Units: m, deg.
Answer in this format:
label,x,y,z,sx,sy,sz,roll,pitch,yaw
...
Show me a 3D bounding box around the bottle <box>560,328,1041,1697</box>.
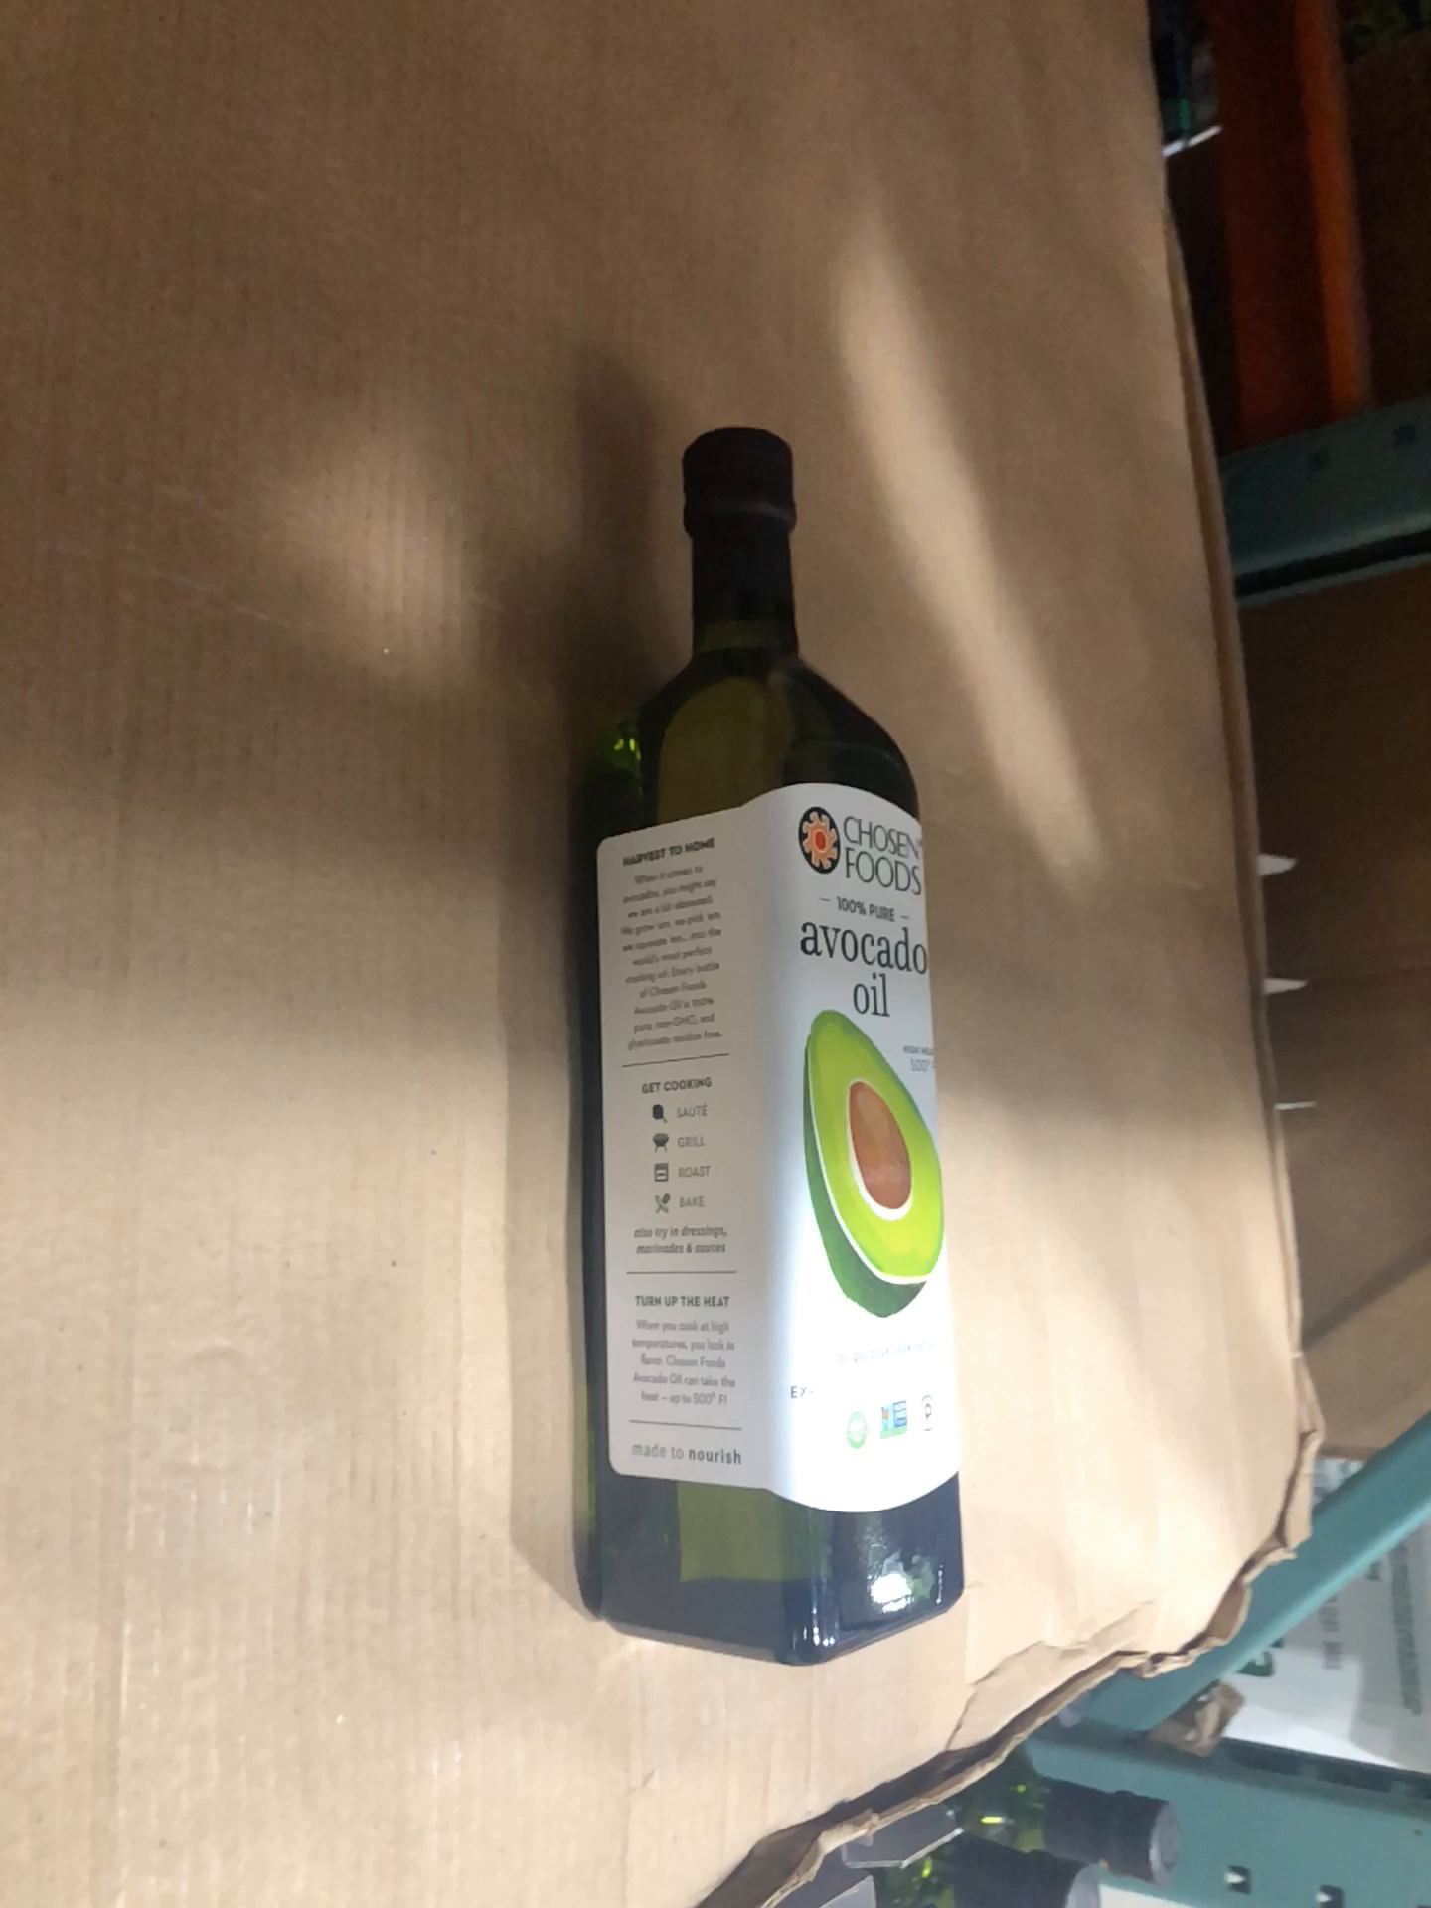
label,x,y,z,sx,sy,sz,roll,pitch,yaw
bottle,0.020,0.012,0.423,0.087,0.074,0.320,10,74,-52
